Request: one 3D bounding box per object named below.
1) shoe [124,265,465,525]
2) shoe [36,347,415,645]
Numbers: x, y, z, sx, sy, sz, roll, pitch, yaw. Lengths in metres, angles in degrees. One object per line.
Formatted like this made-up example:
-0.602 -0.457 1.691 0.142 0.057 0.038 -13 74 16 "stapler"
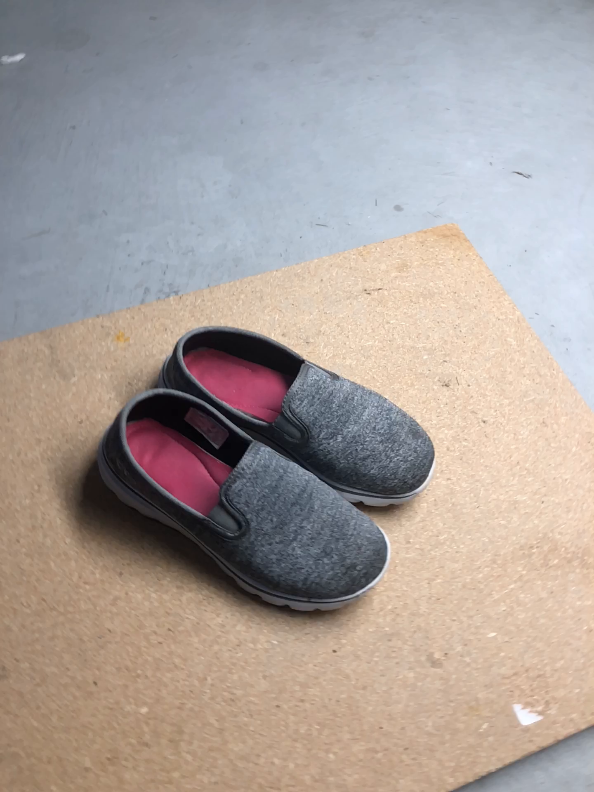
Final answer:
-0.005 -0.005 0.545 0.250 0.073 0.100 25 59 14 "shoe"
-0.053 0.069 0.489 0.250 0.070 0.100 25 59 14 "shoe"
